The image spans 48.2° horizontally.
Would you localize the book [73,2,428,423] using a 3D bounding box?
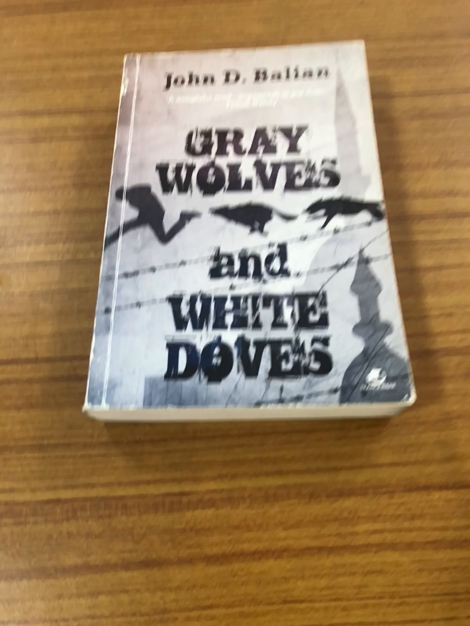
[{"bbox_3d":[0.006,-0.057,0.248,0.130,0.030,0.210,-2,66,5],"label":"book"}]
